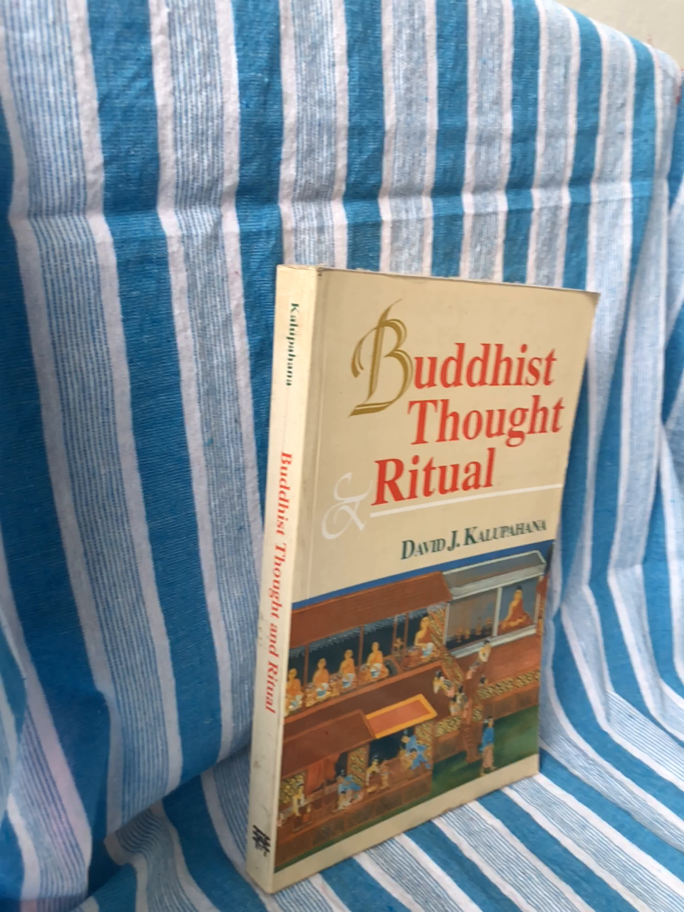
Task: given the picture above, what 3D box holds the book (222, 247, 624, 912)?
[{"bbox_3d":[0.034,0.042,0.286,0.151,0.219,0.020,-5,17,-37],"label":"book"}]
